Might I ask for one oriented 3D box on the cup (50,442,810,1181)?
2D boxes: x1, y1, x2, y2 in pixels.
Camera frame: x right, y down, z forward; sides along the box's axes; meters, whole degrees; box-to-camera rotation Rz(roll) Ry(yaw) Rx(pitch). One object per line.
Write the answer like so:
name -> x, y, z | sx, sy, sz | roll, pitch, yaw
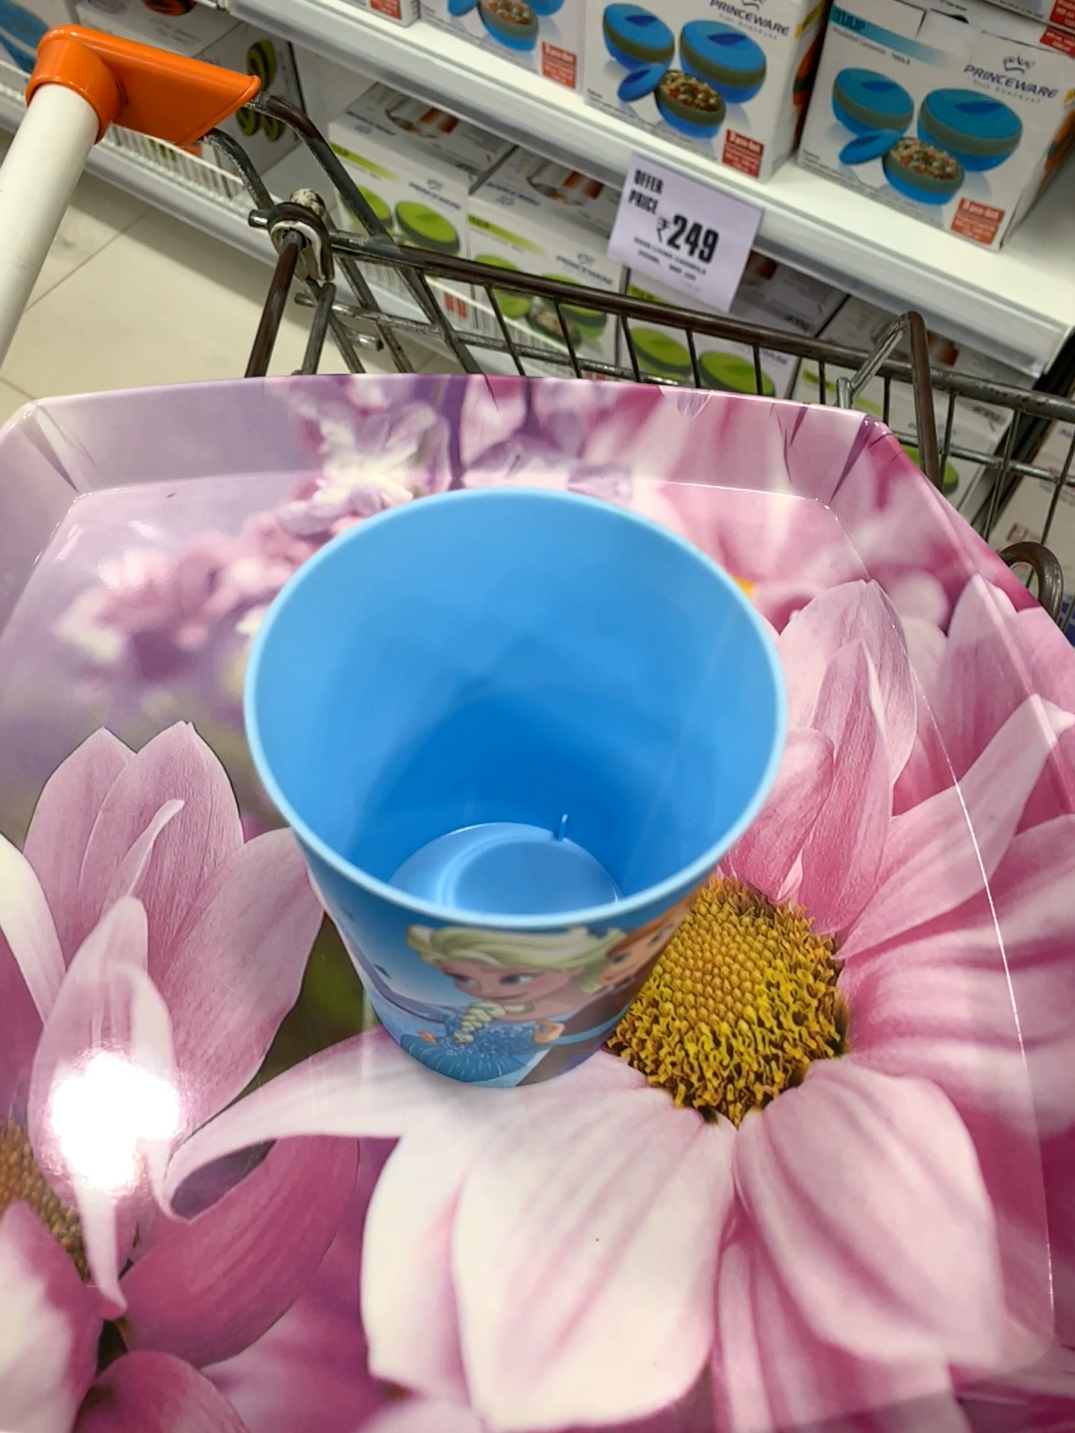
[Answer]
cup -> -0.012, 0.024, 0.190 | 0.080, 0.109, 0.060 | 20, 61, 12
